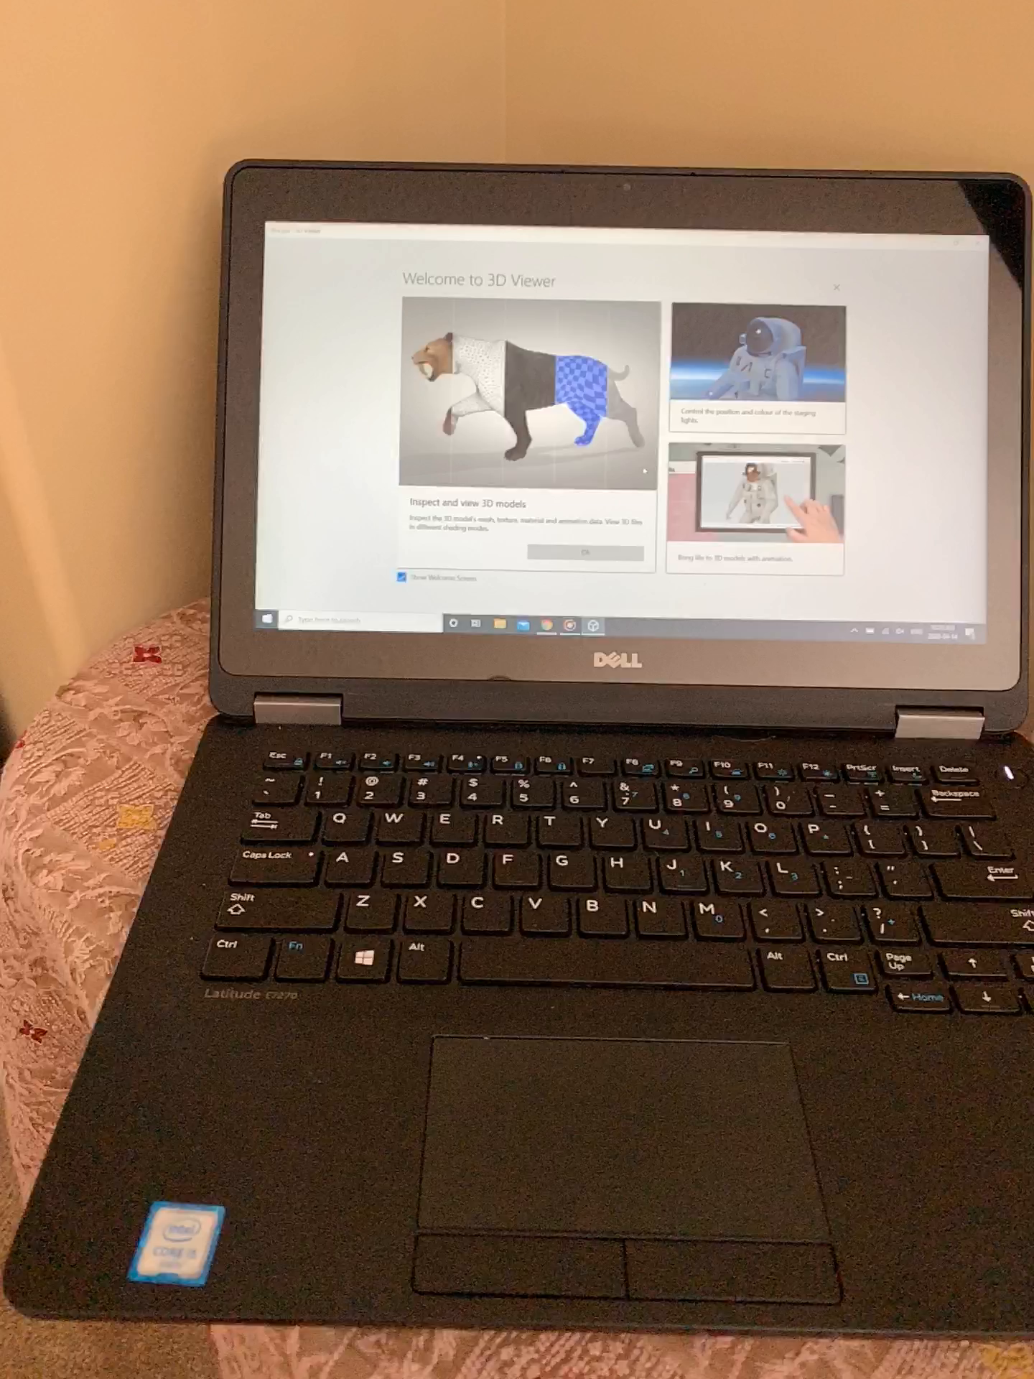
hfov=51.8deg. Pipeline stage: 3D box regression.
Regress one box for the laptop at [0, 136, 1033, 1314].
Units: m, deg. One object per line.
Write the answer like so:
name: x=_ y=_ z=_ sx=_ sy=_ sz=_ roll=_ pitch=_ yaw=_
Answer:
laptop: x=0.047 y=-0.044 z=0.394 sx=0.365 sy=0.186 sz=0.424 roll=1 pitch=41 yaw=1
